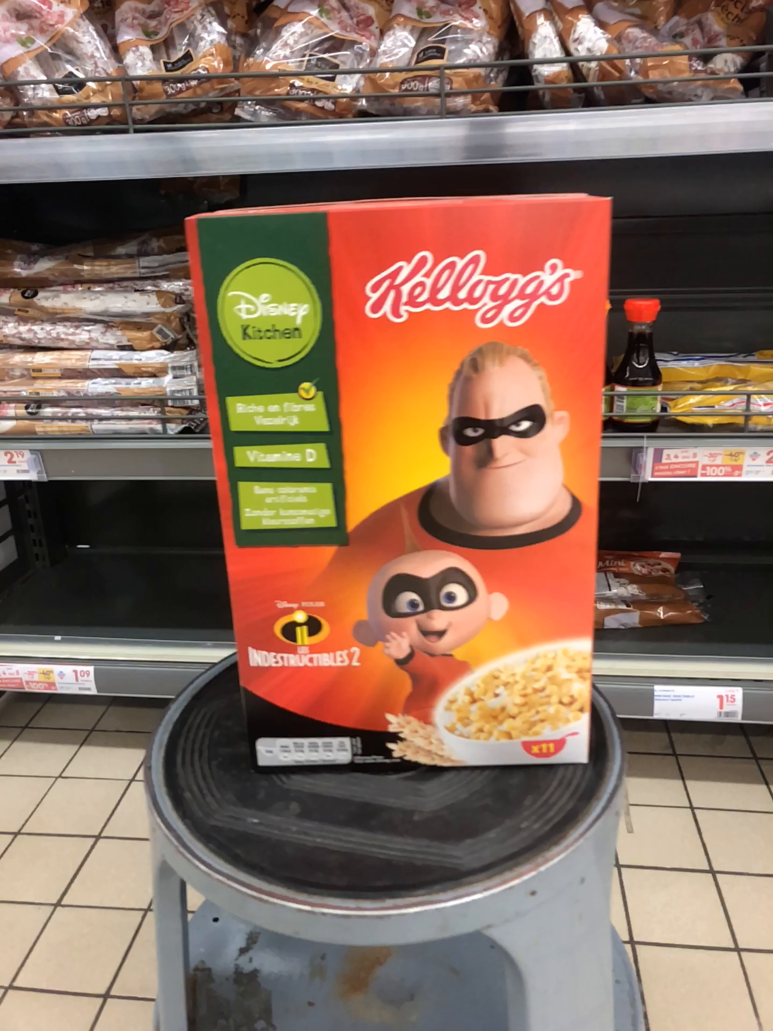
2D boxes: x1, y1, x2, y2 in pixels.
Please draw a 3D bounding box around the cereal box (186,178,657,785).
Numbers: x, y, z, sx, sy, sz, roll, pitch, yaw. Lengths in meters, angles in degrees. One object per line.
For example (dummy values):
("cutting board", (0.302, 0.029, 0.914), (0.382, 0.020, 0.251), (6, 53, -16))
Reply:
("cereal box", (0.021, -0.010, 0.450), (0.200, 0.308, 0.080), (-1, 21, 3))
